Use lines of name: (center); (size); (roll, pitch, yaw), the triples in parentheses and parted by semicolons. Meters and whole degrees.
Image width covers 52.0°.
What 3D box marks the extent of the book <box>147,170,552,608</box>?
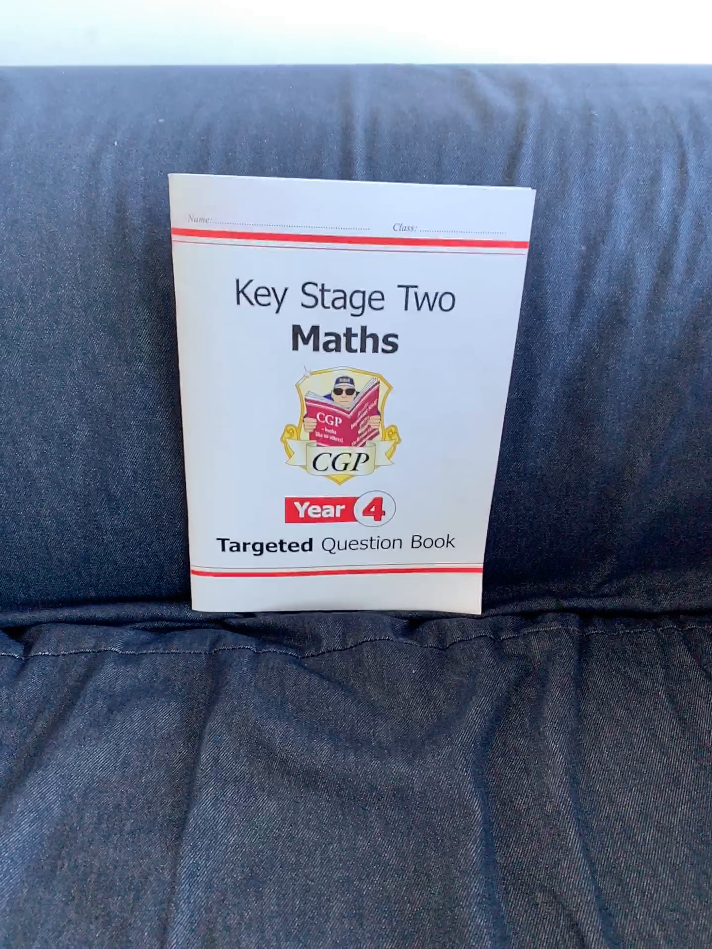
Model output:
book: (-0.004, -0.043, 0.454); (0.220, 0.266, 0.030); (0, 19, -1)
